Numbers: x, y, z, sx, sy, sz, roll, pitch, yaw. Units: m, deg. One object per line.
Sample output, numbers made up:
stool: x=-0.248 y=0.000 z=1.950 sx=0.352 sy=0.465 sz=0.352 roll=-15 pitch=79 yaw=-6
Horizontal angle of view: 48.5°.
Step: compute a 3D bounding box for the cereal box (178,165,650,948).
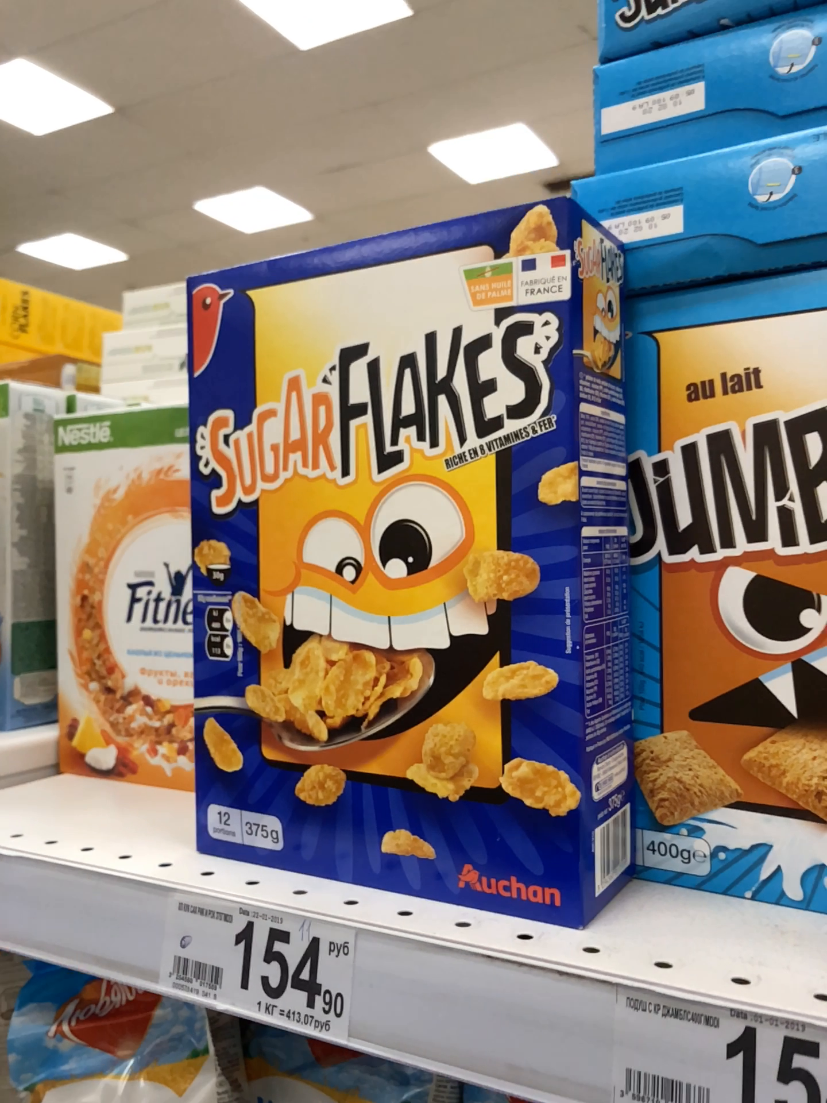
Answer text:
cereal box: x=-0.005 y=0.001 z=0.409 sx=0.200 sy=0.280 sz=0.070 roll=-1 pitch=-1 yaw=30
